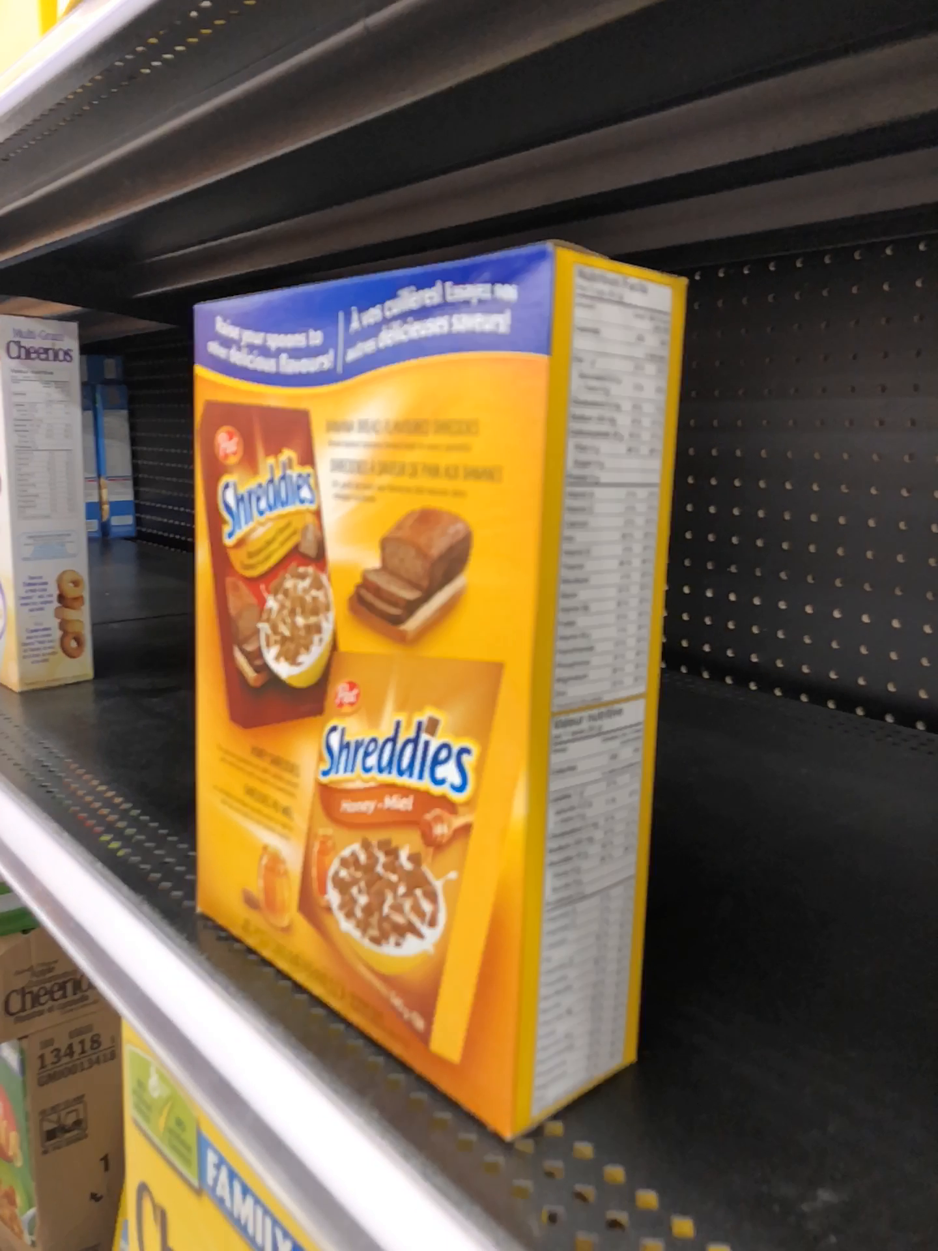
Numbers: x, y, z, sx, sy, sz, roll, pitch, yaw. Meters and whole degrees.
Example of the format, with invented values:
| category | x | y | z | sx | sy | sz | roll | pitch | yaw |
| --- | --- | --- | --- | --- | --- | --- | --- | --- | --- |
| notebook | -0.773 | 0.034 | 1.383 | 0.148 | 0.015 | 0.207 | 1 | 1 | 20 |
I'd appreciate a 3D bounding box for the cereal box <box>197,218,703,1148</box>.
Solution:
| category | x | y | z | sx | sy | sz | roll | pitch | yaw |
| --- | --- | --- | --- | --- | --- | --- | --- | --- | --- |
| cereal box | -0.026 | 0.007 | 0.388 | 0.060 | 0.269 | 0.210 | -5 | 11 | -41 |
